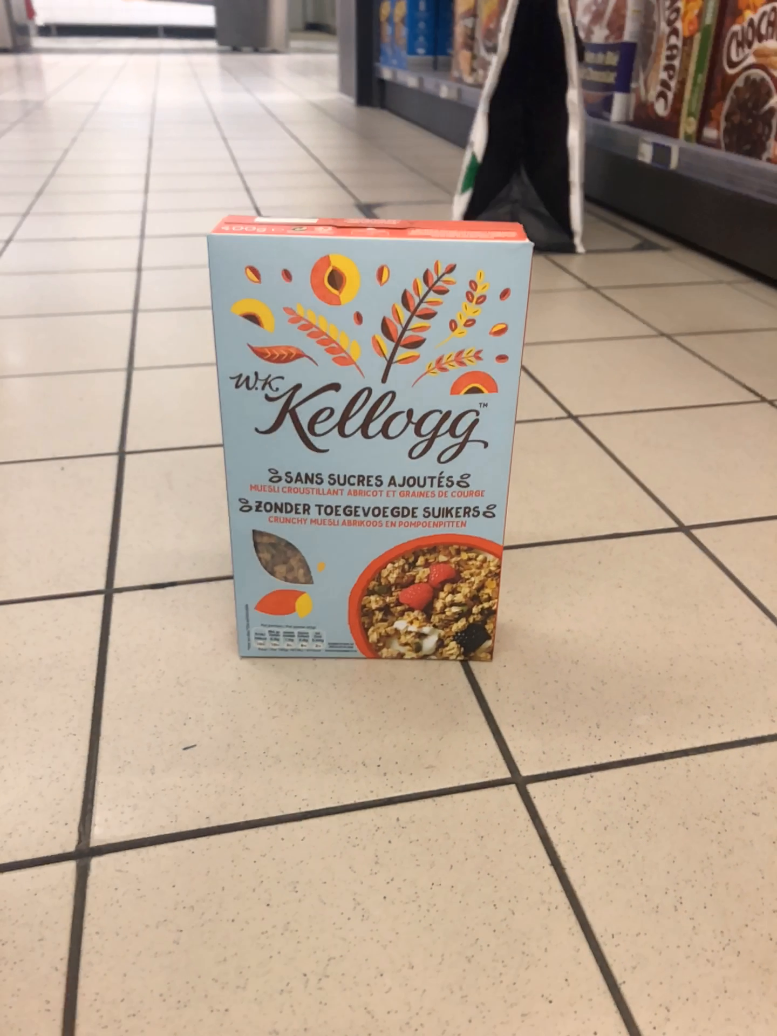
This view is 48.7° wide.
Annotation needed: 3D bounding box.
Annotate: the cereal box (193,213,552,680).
[{"bbox_3d":[-0.008,-0.028,0.434,0.150,0.229,0.050,2,28,1],"label":"cereal box"}]
